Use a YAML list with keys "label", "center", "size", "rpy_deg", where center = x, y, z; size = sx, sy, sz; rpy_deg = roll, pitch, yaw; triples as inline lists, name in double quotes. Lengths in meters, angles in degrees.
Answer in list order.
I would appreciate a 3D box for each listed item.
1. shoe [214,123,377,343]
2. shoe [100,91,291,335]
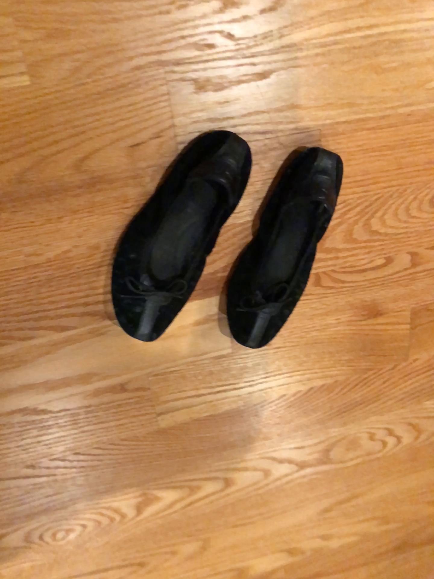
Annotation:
- label: "shoe"
  center: [0.080, -0.056, 0.527]
  size: [0.093, 0.046, 0.220]
  rpy_deg: [13, 108, -20]
- label: "shoe"
  center: [-0.028, -0.073, 0.491]
  size: [0.100, 0.050, 0.220]
  rpy_deg: [23, 105, -23]
